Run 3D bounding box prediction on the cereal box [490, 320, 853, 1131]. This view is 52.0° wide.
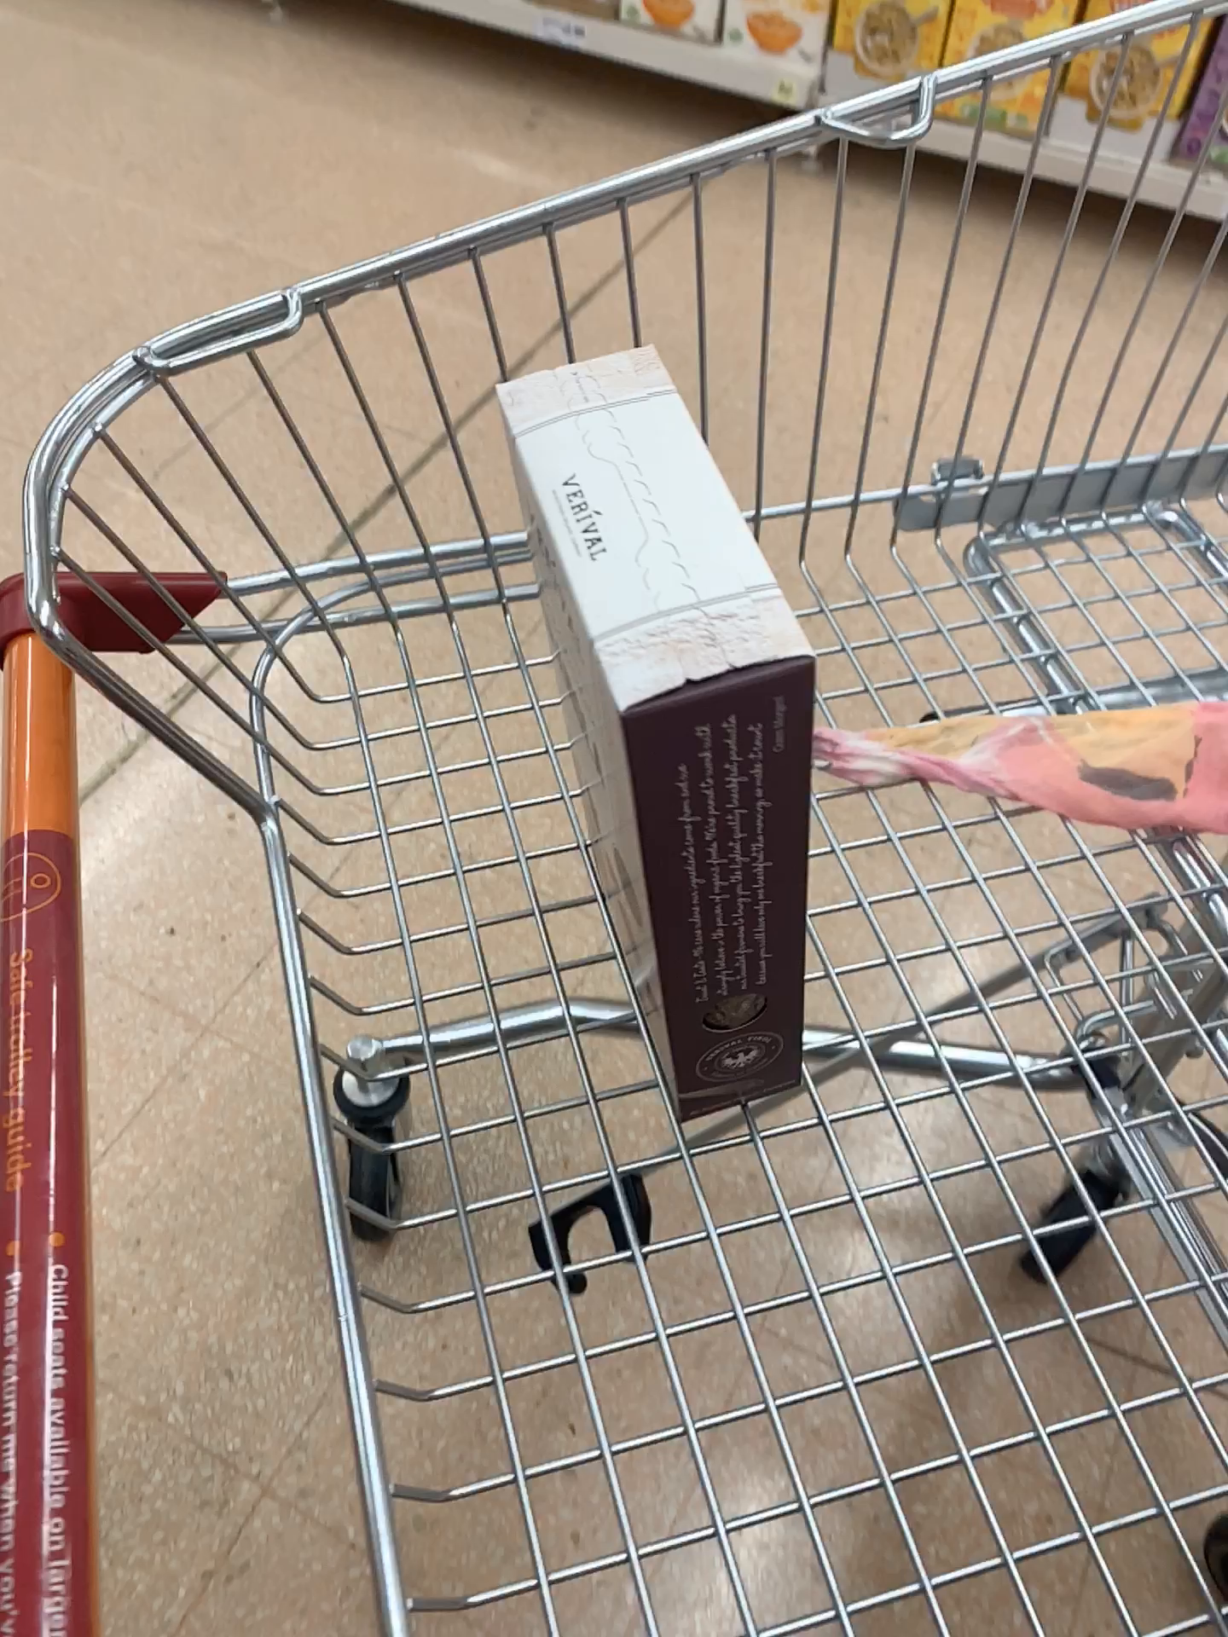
[{"bbox_3d":[0.019,-0.015,0.395,0.050,0.218,0.141,-16,54,-4],"label":"cereal box"}]
